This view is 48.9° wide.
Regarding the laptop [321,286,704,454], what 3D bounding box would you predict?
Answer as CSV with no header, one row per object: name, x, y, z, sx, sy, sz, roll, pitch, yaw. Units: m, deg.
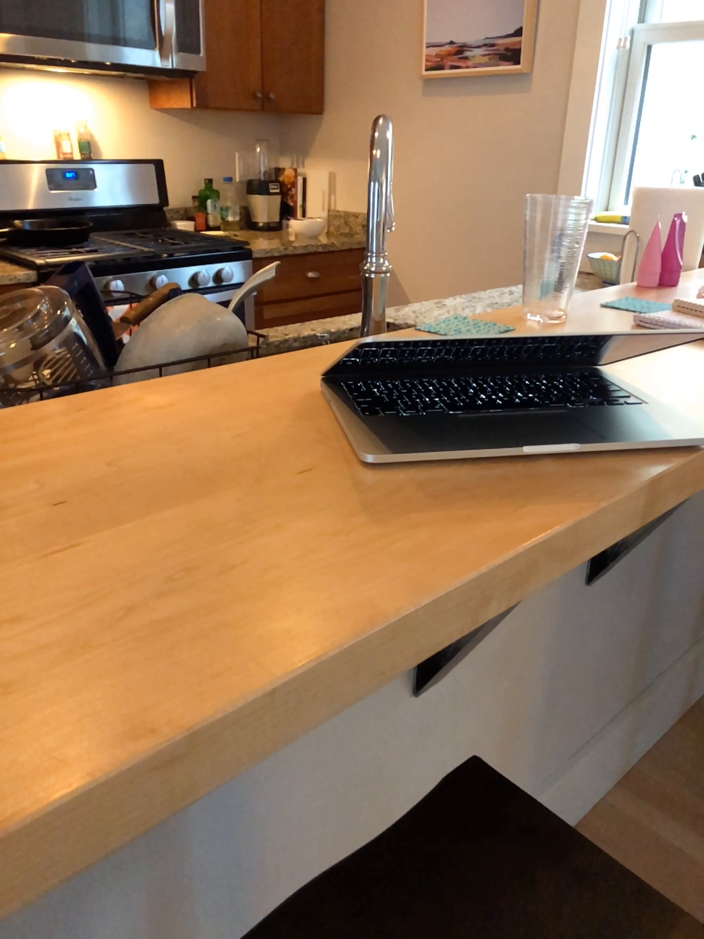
laptop,0.138,-0.101,0.692,0.300,0.084,0.211,-3,24,-11
